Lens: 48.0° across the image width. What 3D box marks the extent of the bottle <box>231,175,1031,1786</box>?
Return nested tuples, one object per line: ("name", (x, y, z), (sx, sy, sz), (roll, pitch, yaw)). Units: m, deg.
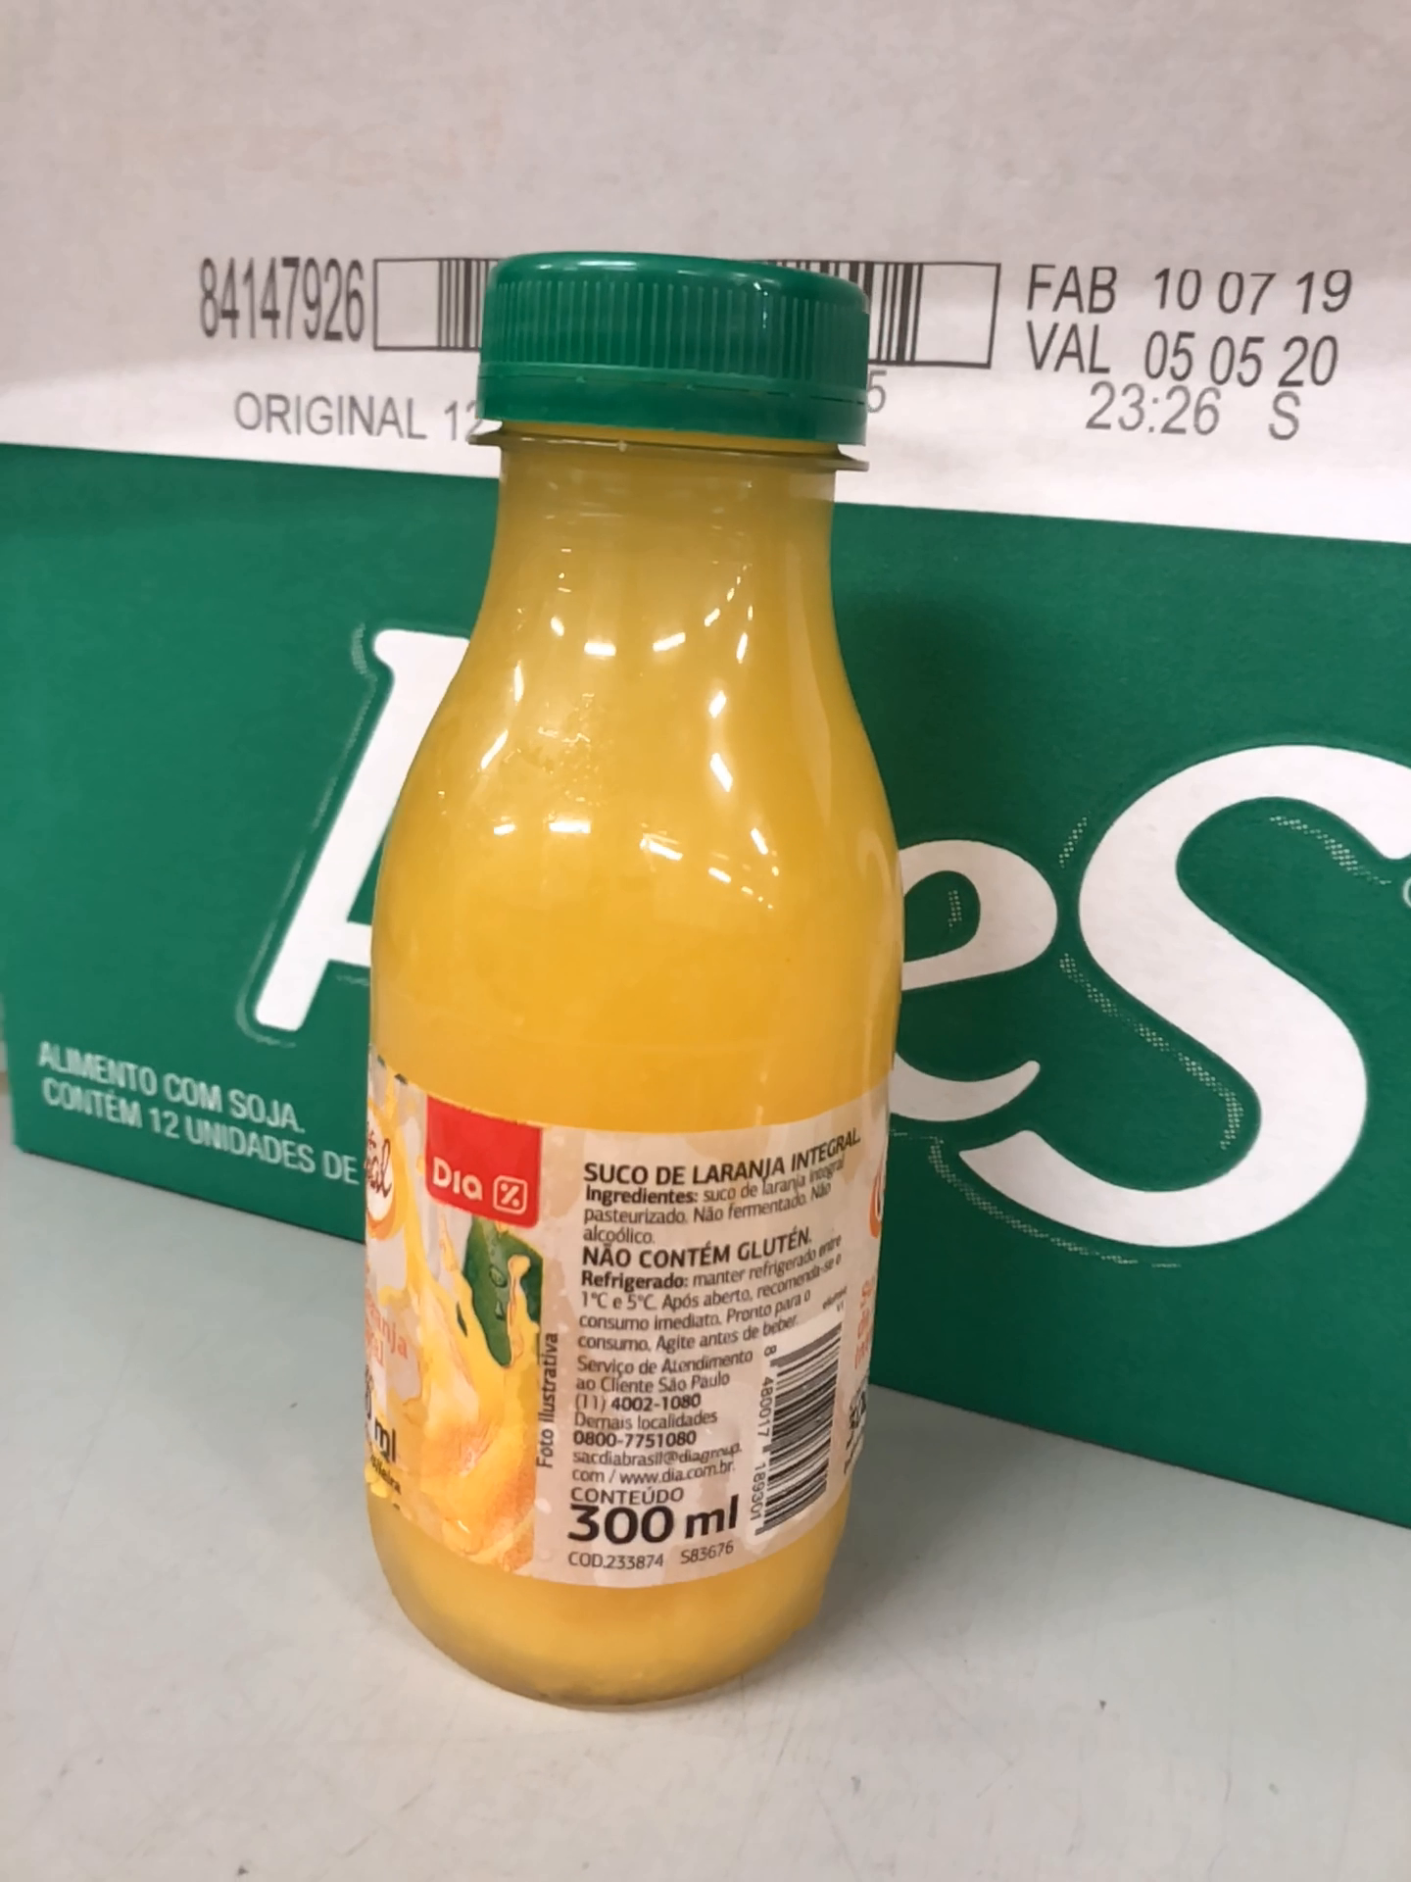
("bottle", (-0.014, 0.002, 0.192), (0.060, 0.159, 0.070), (-8, 19, -29))
